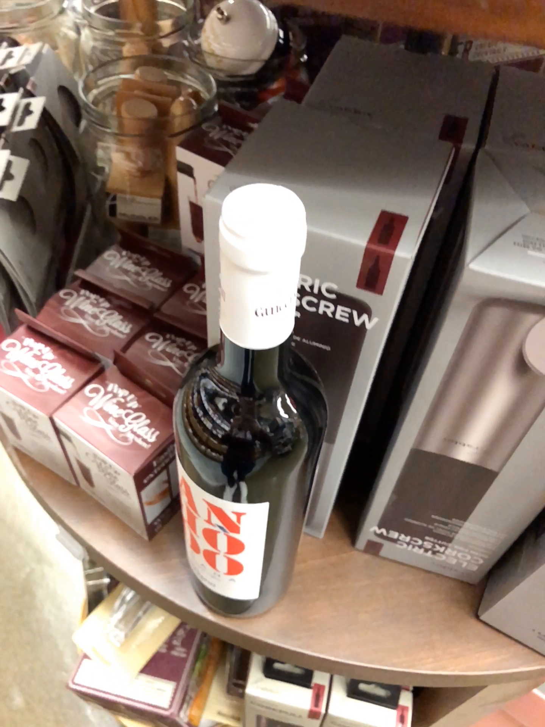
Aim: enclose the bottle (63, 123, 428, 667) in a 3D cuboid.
[{"bbox_3d":[-0.014,0.053,0.310,0.083,0.309,0.080,1,50,-2],"label":"bottle"}]
